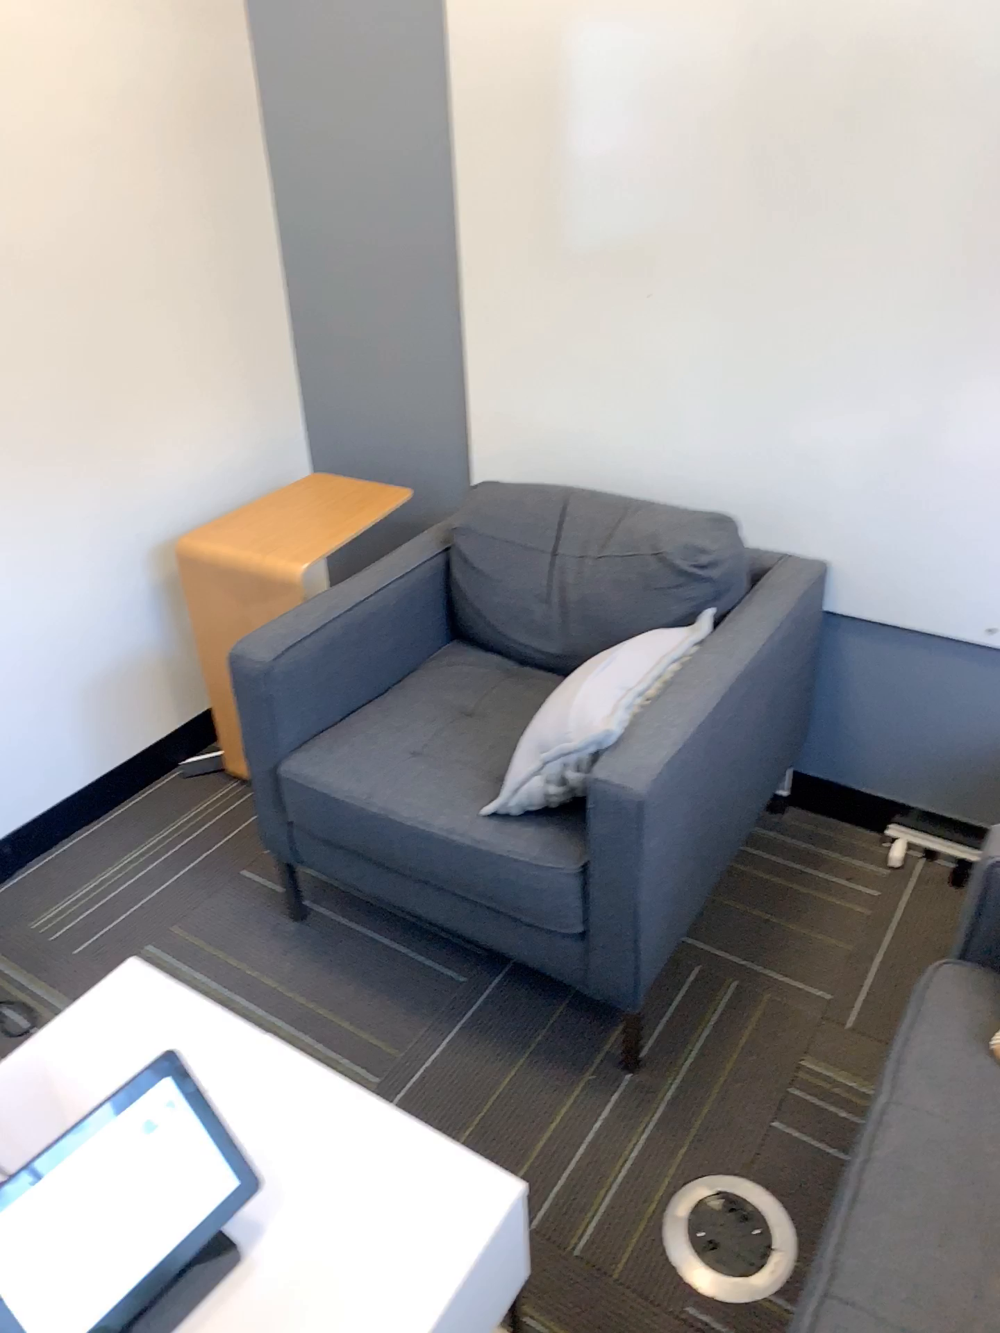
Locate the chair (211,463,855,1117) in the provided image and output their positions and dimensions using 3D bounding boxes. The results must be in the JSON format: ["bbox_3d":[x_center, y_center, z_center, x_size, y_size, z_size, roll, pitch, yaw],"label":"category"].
[{"bbox_3d":[0.120,0.135,2.076,0.843,0.716,0.943,16,35,28],"label":"chair"}]
